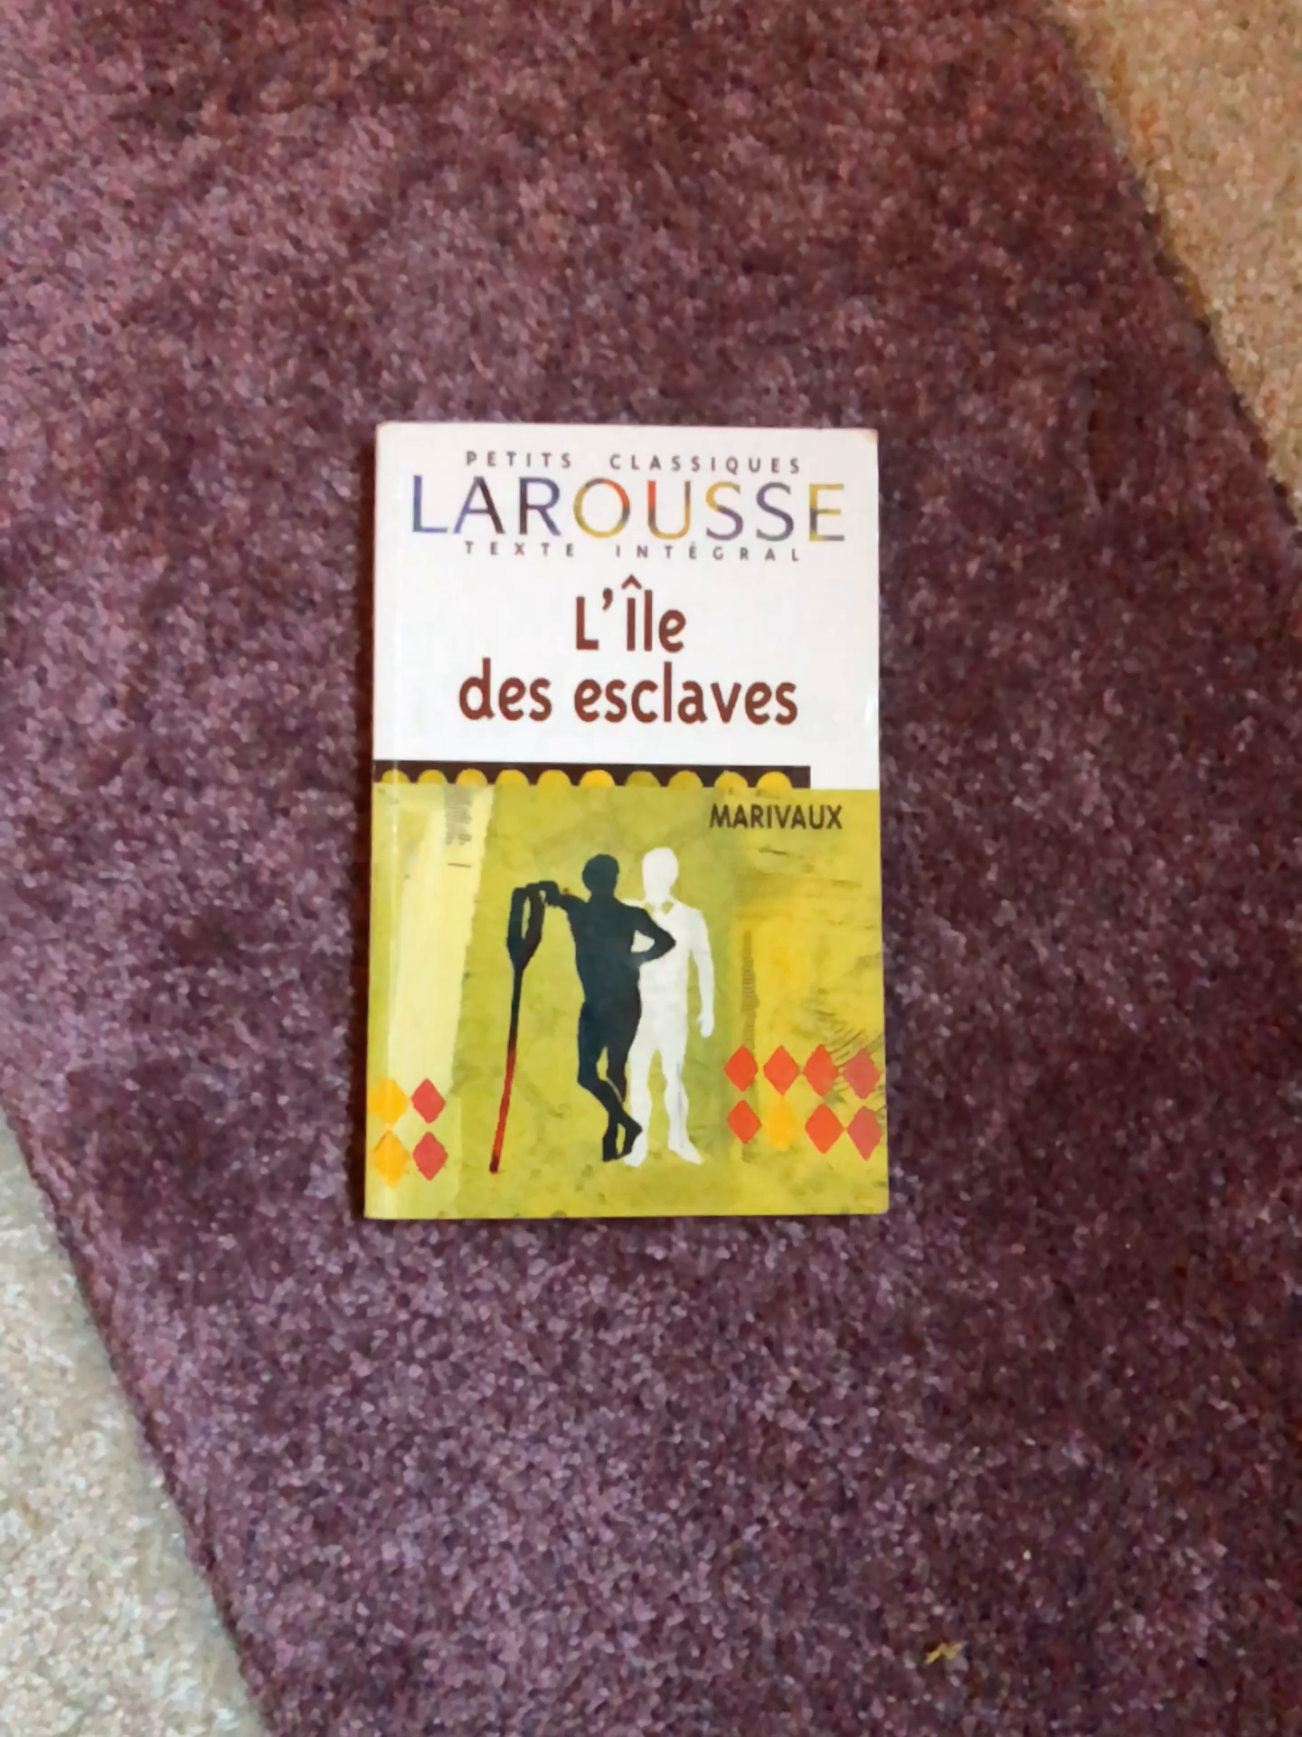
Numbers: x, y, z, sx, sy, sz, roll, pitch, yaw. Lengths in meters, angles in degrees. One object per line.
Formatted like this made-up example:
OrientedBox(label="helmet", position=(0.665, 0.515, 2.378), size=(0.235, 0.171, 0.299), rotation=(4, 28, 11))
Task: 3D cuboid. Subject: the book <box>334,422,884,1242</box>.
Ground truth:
OrientedBox(label="book", position=(-0.009, -0.009, 0.305), size=(0.110, 0.020, 0.166), rotation=(0, 85, -4))
